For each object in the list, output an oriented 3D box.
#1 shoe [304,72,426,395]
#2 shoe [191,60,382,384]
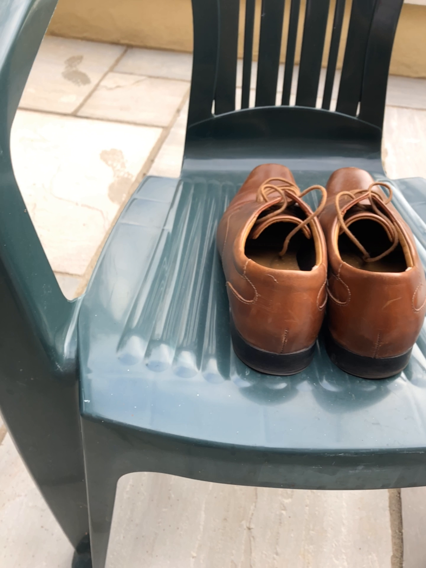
[{"bbox_3d":[0.146,-0.063,0.411,0.110,0.109,0.282,7,48,5],"label":"shoe"},{"bbox_3d":[0.055,-0.075,0.412,0.110,0.109,0.292,5,48,3],"label":"shoe"}]
